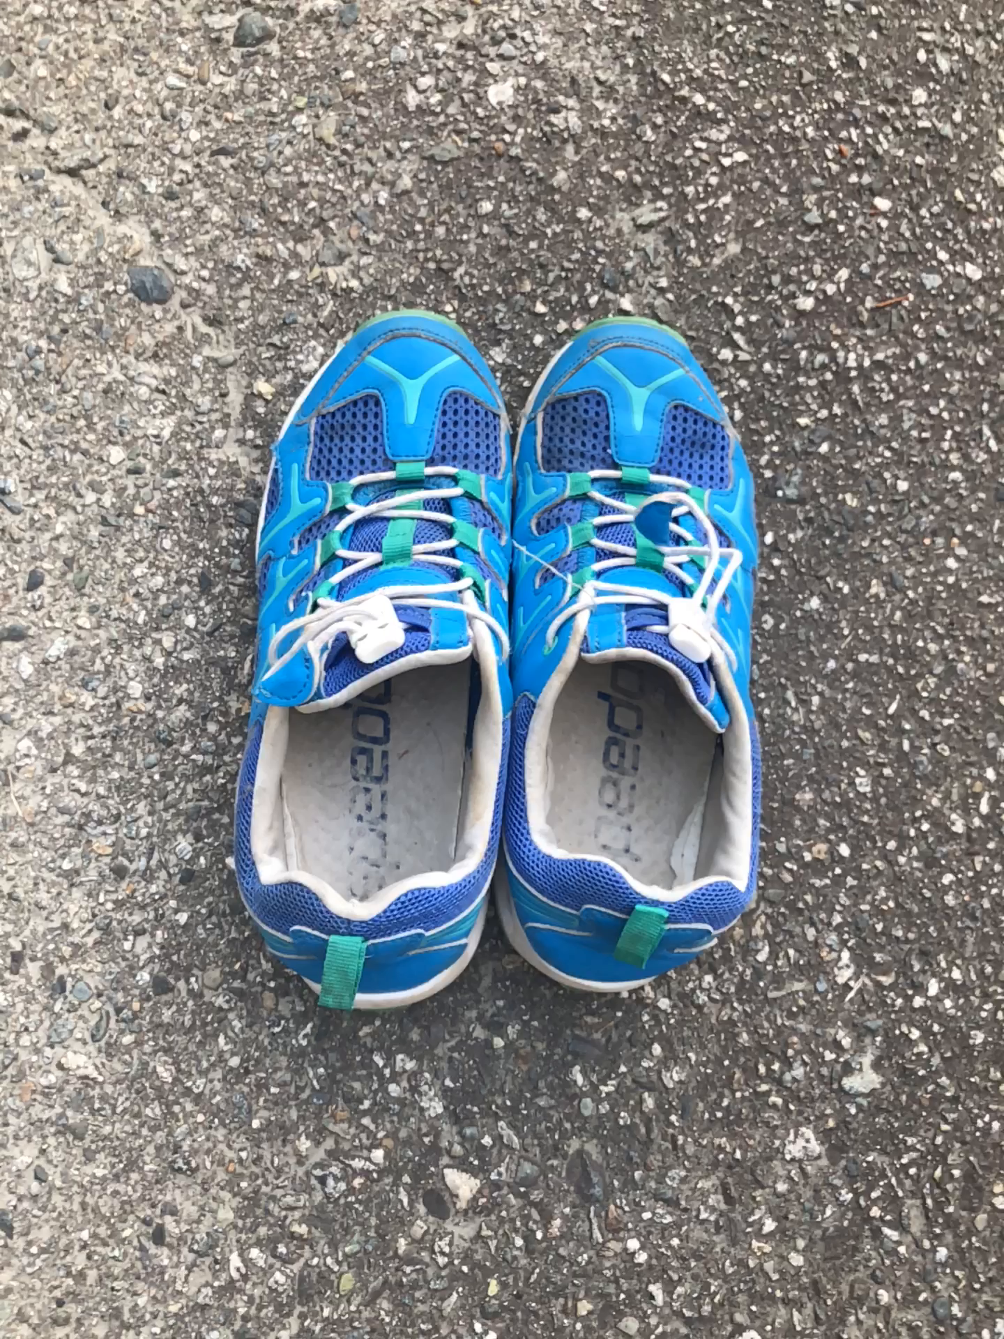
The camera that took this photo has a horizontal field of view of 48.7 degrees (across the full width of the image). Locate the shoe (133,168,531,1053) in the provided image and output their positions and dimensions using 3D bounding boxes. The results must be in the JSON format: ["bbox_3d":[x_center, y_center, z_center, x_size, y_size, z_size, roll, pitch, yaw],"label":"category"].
[{"bbox_3d":[-0.051,-0.017,0.373,0.100,0.090,0.260,3,83,-5],"label":"shoe"}]

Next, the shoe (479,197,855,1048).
[{"bbox_3d":[0.051,-0.013,0.374,0.100,0.090,0.250,3,83,-5],"label":"shoe"}]
